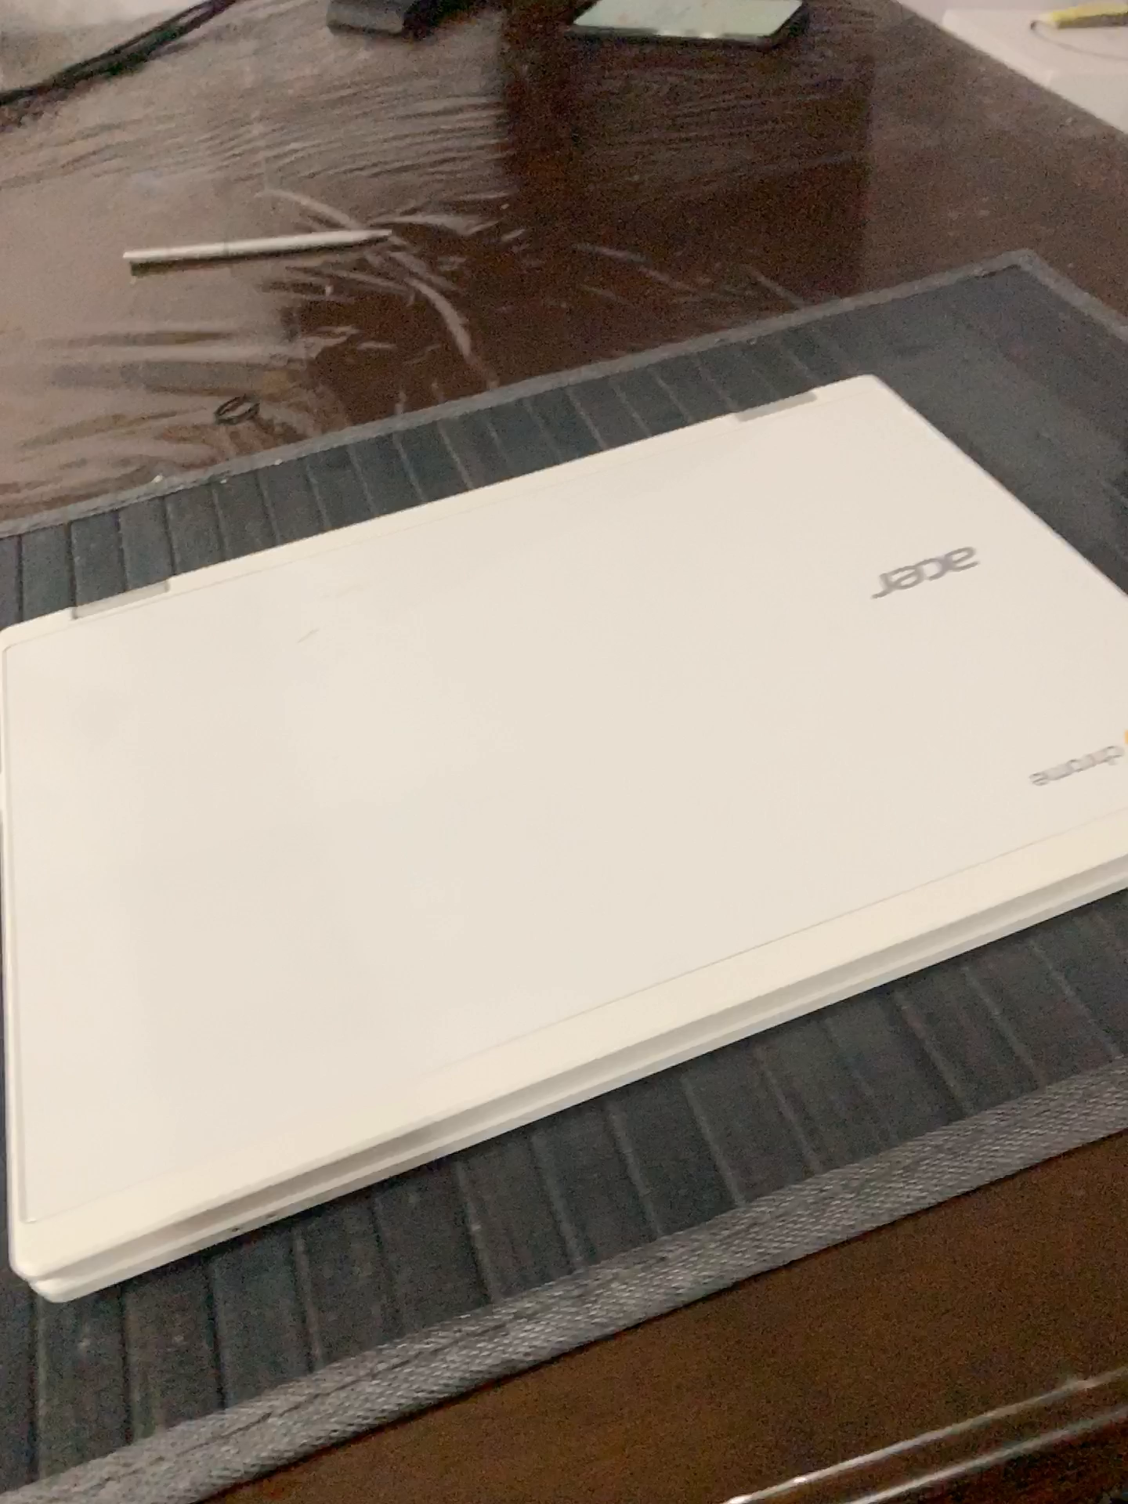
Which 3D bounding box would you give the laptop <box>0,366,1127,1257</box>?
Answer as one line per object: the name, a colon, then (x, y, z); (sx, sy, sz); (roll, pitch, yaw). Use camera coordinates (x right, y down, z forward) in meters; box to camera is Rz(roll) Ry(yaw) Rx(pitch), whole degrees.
laptop: (-0.004, -0.016, 0.298); (0.278, 0.002, 0.195); (-19, 48, -8)
